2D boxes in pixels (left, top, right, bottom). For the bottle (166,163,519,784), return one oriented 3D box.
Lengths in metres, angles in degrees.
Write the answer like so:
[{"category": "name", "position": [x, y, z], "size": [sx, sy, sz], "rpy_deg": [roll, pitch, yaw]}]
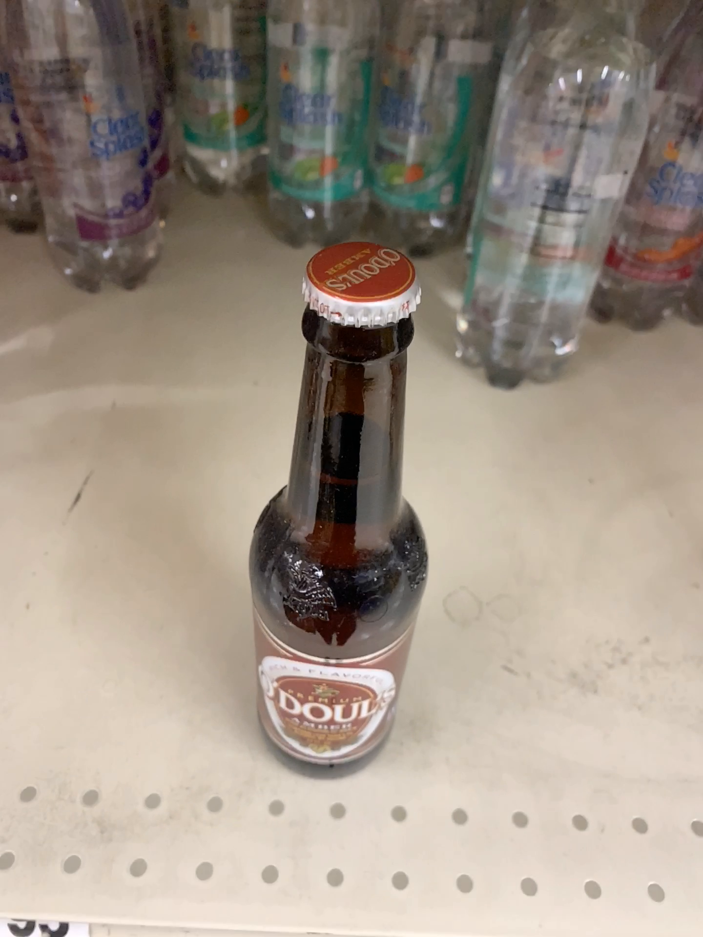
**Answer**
[{"category": "bottle", "position": [-0.003, 0.024, 0.249], "size": [0.070, 0.219, 0.070], "rpy_deg": [2, 47, -3]}]
